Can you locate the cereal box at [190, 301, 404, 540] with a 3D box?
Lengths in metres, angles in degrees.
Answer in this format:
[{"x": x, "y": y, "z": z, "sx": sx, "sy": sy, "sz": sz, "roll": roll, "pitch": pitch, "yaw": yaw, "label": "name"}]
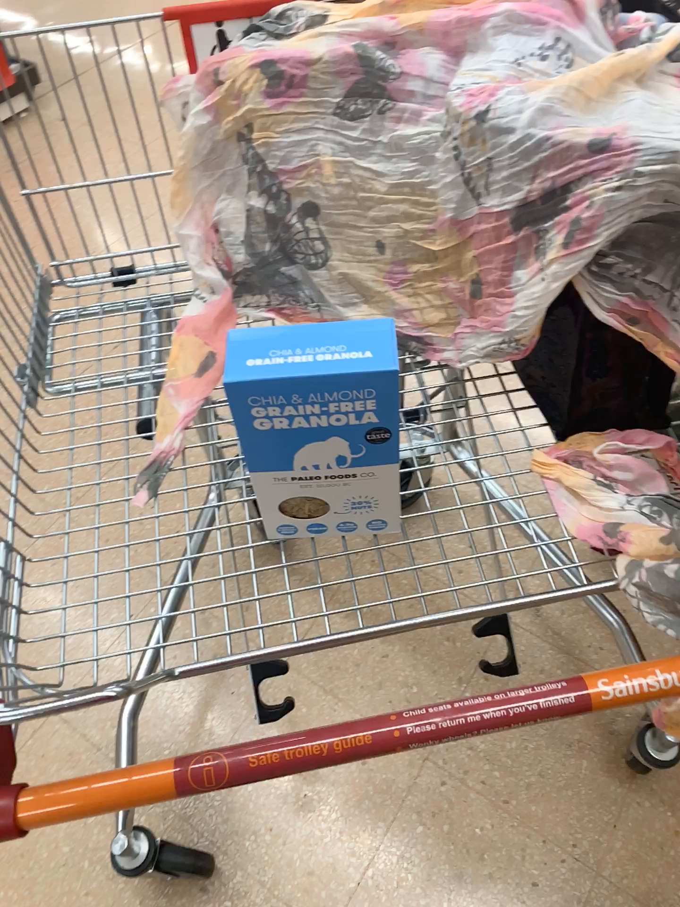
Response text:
[{"x": -0.026, "y": -0.016, "z": 0.553, "sx": 0.140, "sy": 0.208, "sz": 0.061, "roll": -3, "pitch": 51, "yaw": 0, "label": "cereal box"}]
